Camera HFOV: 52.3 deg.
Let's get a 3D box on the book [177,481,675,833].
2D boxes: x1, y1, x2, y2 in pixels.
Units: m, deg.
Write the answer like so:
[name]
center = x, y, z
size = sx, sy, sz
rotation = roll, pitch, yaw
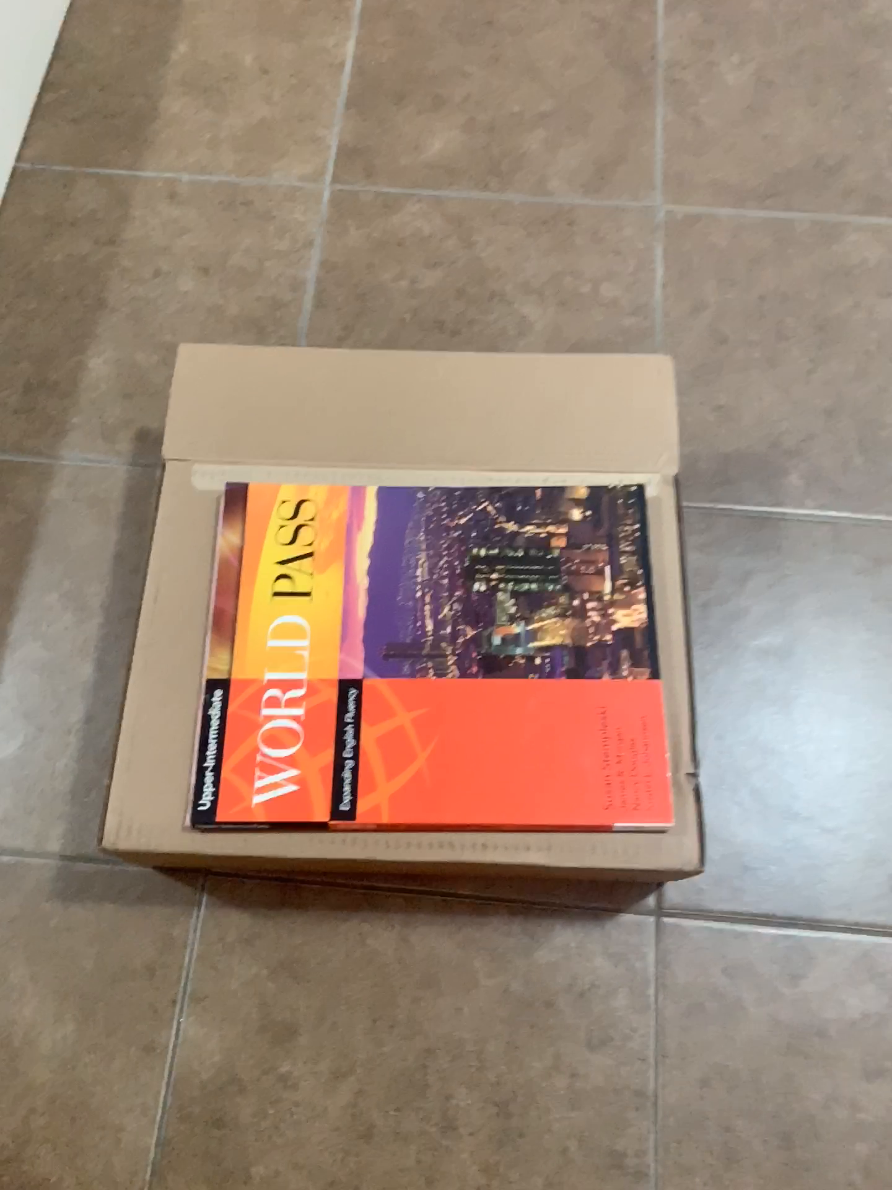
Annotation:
[book]
center = -0.010, 0.031, 0.539
size = 0.270, 0.018, 0.211
rotation = 0, 69, 1
